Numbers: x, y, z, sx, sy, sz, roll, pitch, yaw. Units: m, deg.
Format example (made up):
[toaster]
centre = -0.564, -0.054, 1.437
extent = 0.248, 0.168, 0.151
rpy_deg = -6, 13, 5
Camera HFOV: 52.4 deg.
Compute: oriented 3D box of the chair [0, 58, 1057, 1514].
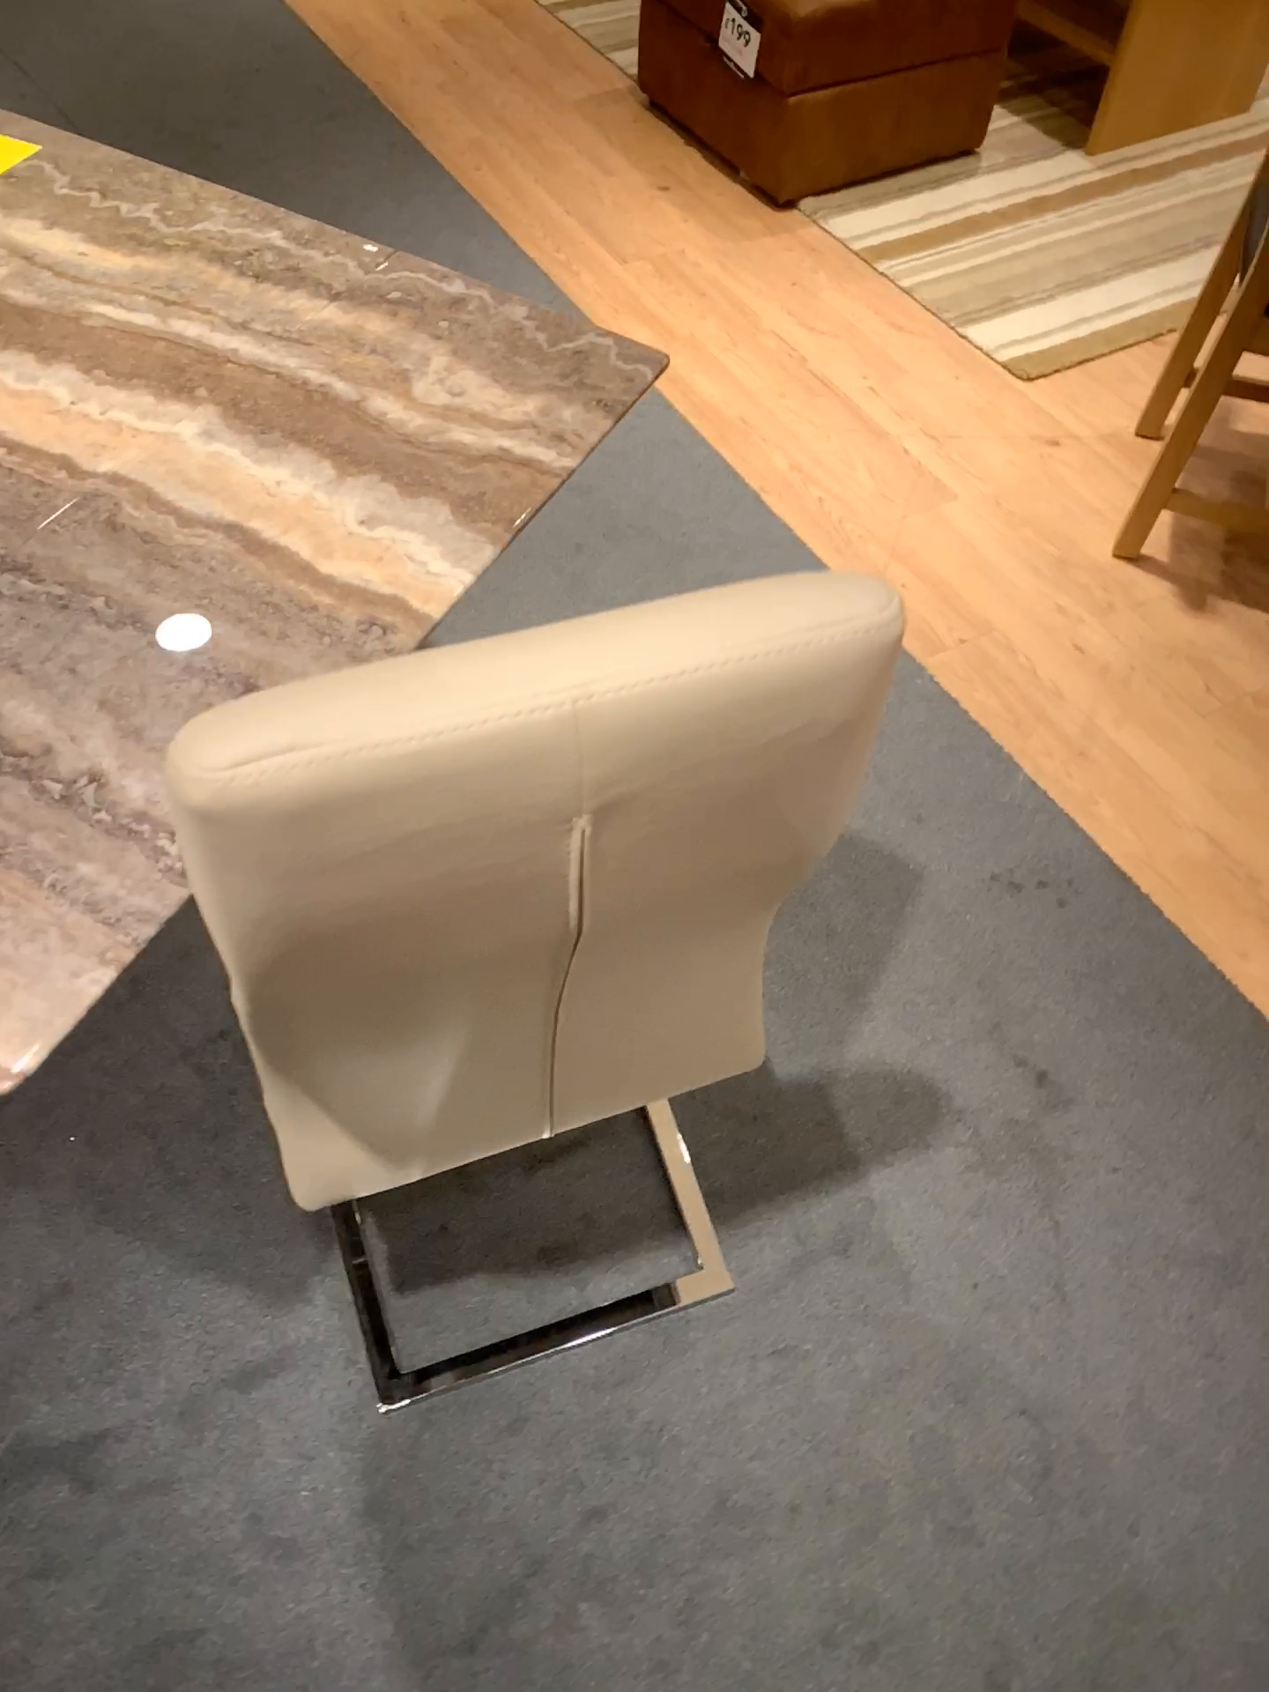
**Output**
[chair]
centre = -0.161, 0.045, 1.024
extent = 0.474, 0.974, 0.573
rpy_deg = -14, 54, -13
